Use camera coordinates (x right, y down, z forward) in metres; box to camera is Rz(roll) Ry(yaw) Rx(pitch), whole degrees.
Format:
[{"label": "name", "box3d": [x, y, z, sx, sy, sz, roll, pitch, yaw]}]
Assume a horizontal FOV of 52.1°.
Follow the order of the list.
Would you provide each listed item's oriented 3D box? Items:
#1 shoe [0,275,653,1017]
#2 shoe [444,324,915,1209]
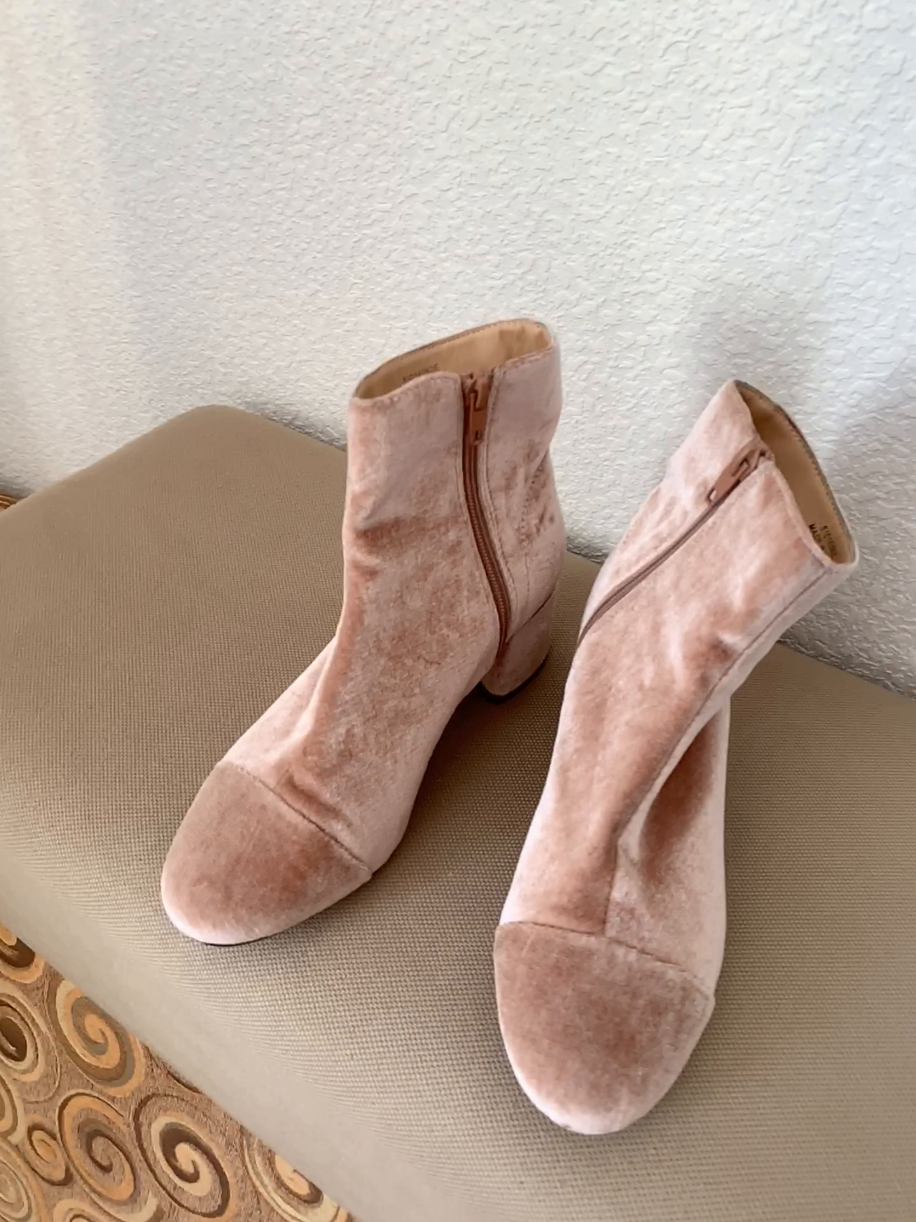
[{"label": "shoe", "box3d": [-0.036, 0.001, 0.370, 0.100, 0.169, 0.231, 28, 49, 23]}, {"label": "shoe", "box3d": [0.084, 0.038, 0.357, 0.100, 0.169, 0.271, 13, 44, 9]}]
